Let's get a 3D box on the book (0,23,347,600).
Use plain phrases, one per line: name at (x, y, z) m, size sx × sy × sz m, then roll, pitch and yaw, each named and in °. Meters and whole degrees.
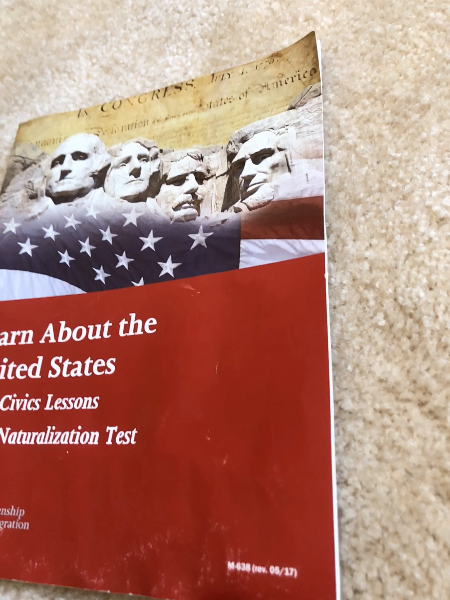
book at (-0.051, -0.005, 0.258) m, size 0.208 × 0.028 × 0.274 m, roll -7°, pitch 63°, yaw 22°
